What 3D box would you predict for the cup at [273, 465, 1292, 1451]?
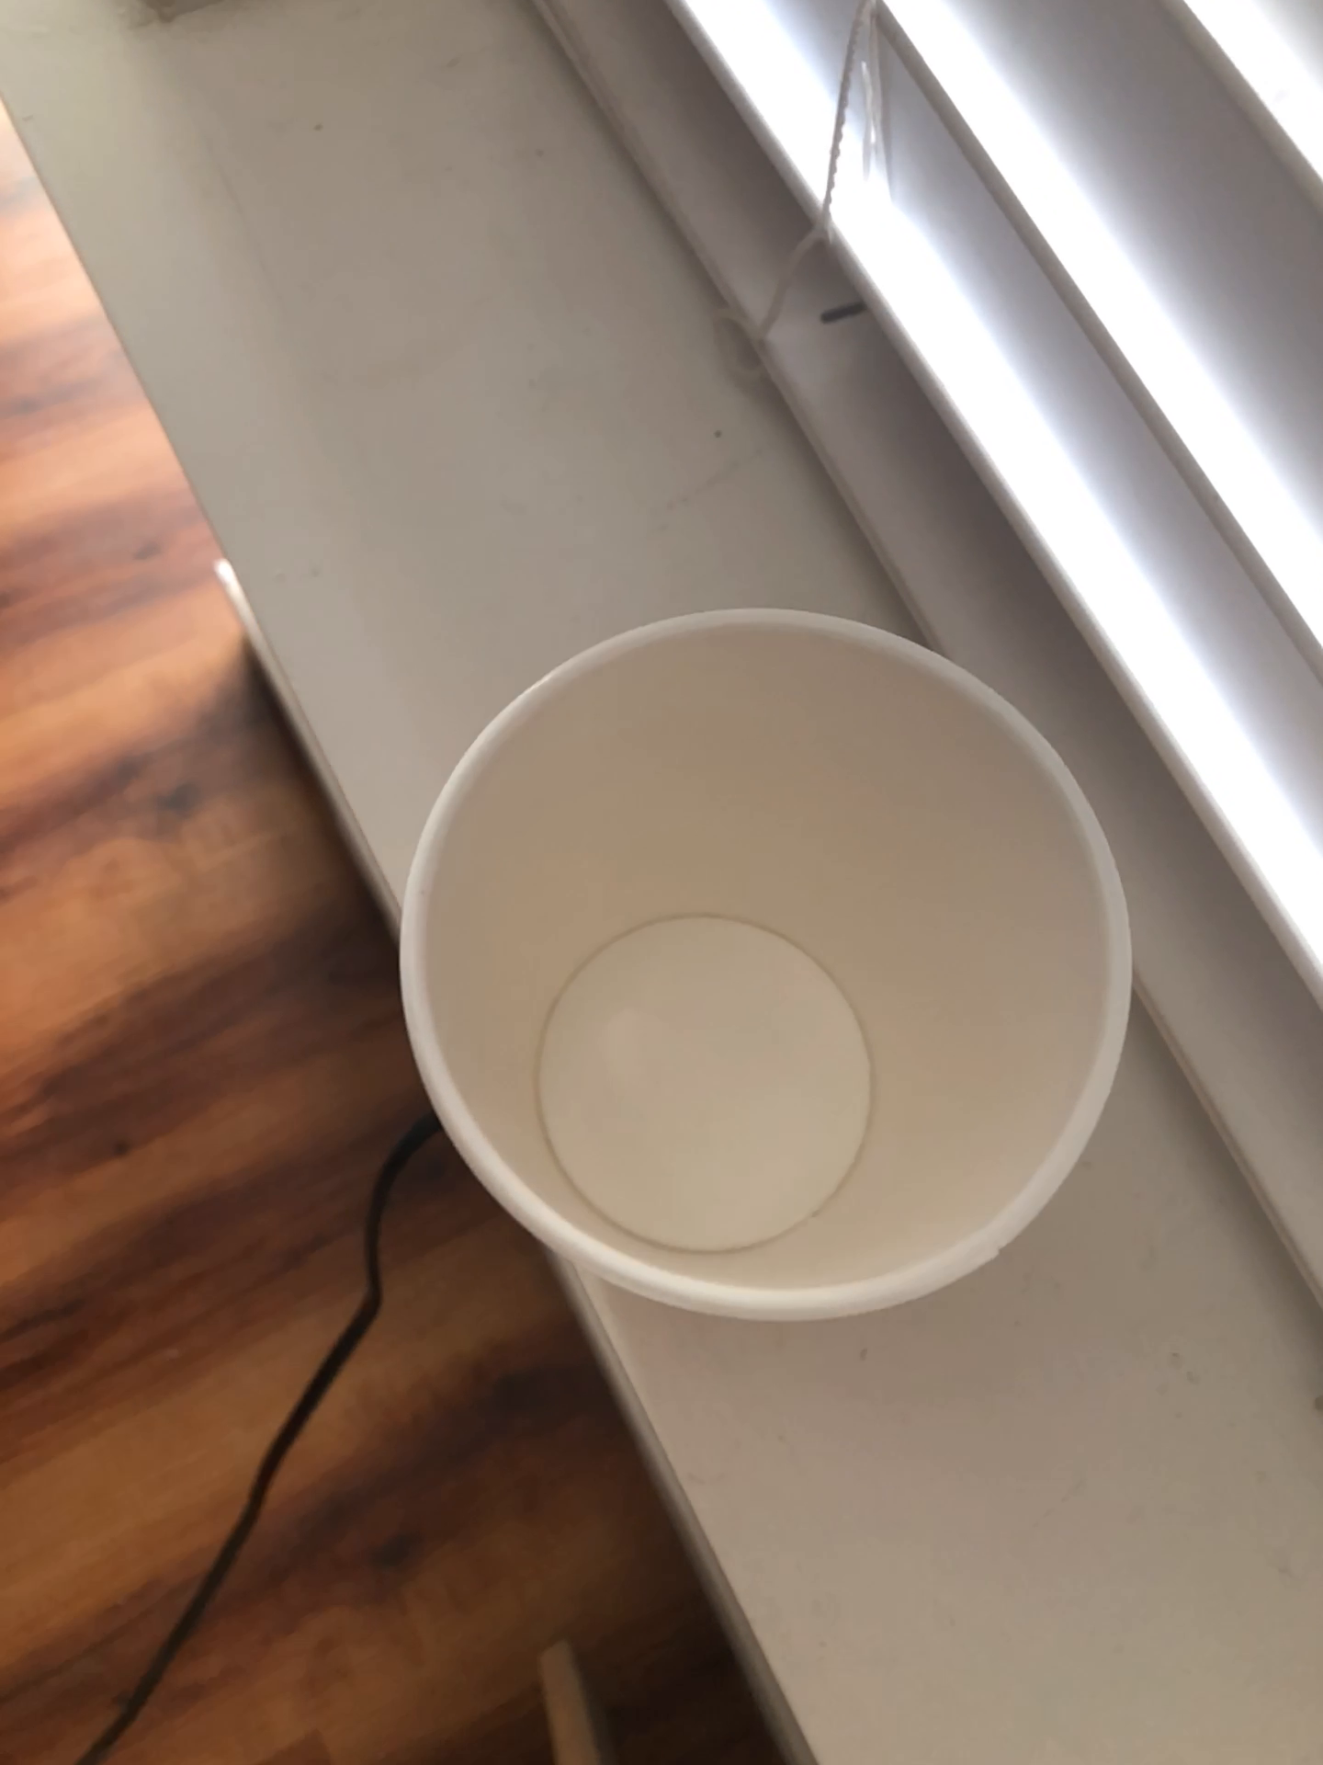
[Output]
[{"bbox_3d":[0.011,0.016,0.222,0.093,0.089,0.095,1,72,-4],"label":"cup"}]
